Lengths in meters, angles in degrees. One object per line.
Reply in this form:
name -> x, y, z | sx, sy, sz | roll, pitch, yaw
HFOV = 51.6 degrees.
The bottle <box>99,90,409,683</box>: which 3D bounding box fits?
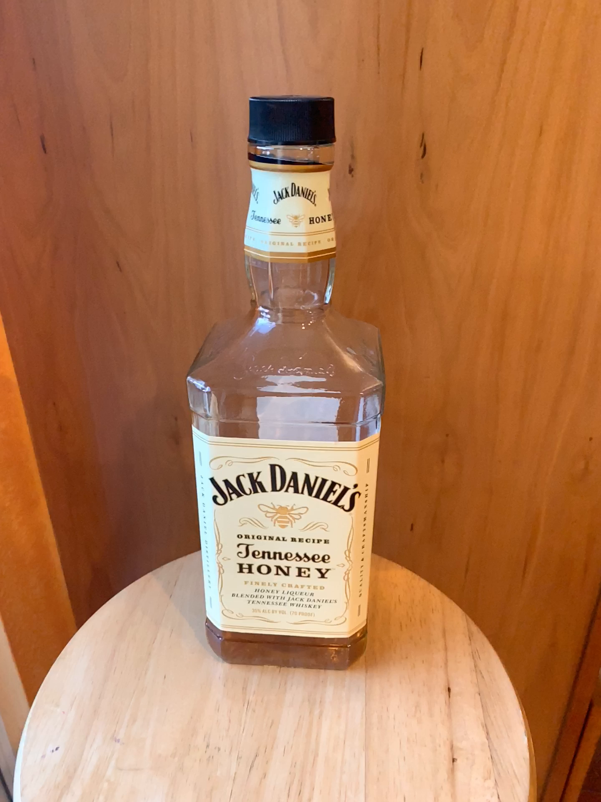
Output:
bottle -> -0.015, 0.006, 0.360 | 0.120, 0.328, 0.101 | 1, 28, 3
